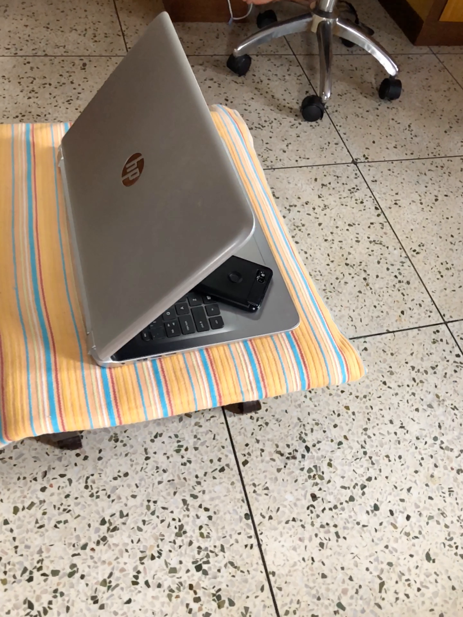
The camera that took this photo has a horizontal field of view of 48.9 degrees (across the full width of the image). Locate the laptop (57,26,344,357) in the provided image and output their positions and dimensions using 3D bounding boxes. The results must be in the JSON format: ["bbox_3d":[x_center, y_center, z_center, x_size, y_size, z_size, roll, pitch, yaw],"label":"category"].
[{"bbox_3d":[-0.066,-0.164,0.638,0.236,0.184,0.373,-9,57,-15],"label":"laptop"}]
